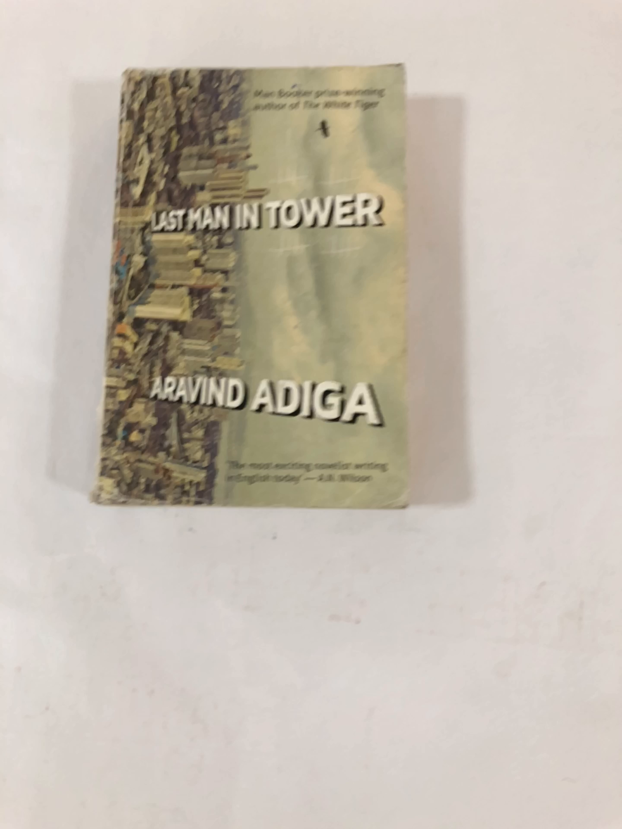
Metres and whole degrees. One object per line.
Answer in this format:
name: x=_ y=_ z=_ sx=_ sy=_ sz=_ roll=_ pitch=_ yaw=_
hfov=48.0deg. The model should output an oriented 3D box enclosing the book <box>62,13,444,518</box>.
book: x=-0.023 y=-0.066 z=0.308 sx=0.150 sy=0.030 sz=0.220 roll=-1 pitch=79 yaw=3
